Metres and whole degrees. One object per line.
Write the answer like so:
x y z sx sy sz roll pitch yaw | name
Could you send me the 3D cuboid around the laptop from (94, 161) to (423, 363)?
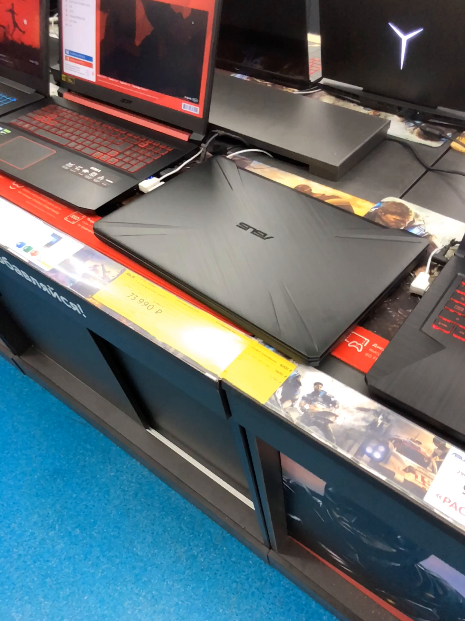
0.028 -0.101 0.710 0.386 0.001 0.261 31 53 30 | laptop
